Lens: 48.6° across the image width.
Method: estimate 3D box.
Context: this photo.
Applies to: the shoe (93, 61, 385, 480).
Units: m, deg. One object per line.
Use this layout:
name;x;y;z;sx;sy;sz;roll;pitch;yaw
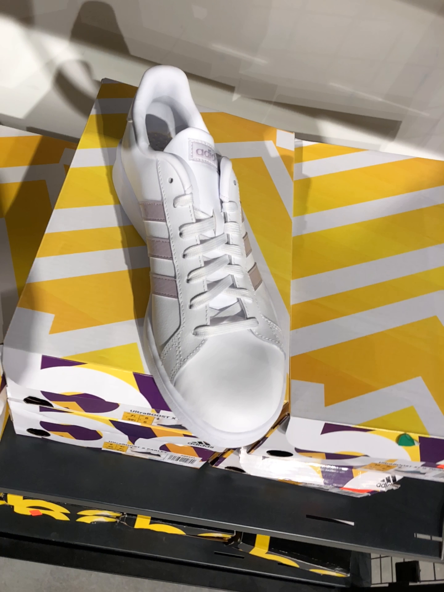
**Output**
shoe;-0.011;-0.036;0.361;0.110;0.090;0.290;-8;62;-22
